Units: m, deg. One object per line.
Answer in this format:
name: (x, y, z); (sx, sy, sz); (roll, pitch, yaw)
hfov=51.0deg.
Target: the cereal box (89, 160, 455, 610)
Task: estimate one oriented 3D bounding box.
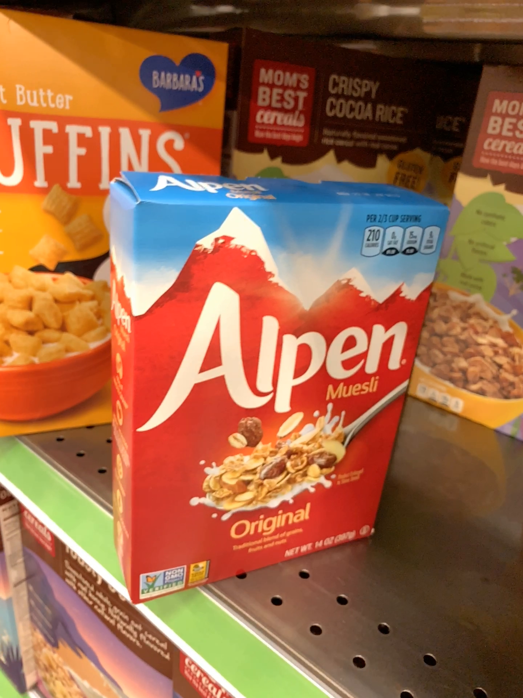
cereal box: (0.000, 0.019, 0.282); (0.160, 0.209, 0.040); (-6, 26, -25)
